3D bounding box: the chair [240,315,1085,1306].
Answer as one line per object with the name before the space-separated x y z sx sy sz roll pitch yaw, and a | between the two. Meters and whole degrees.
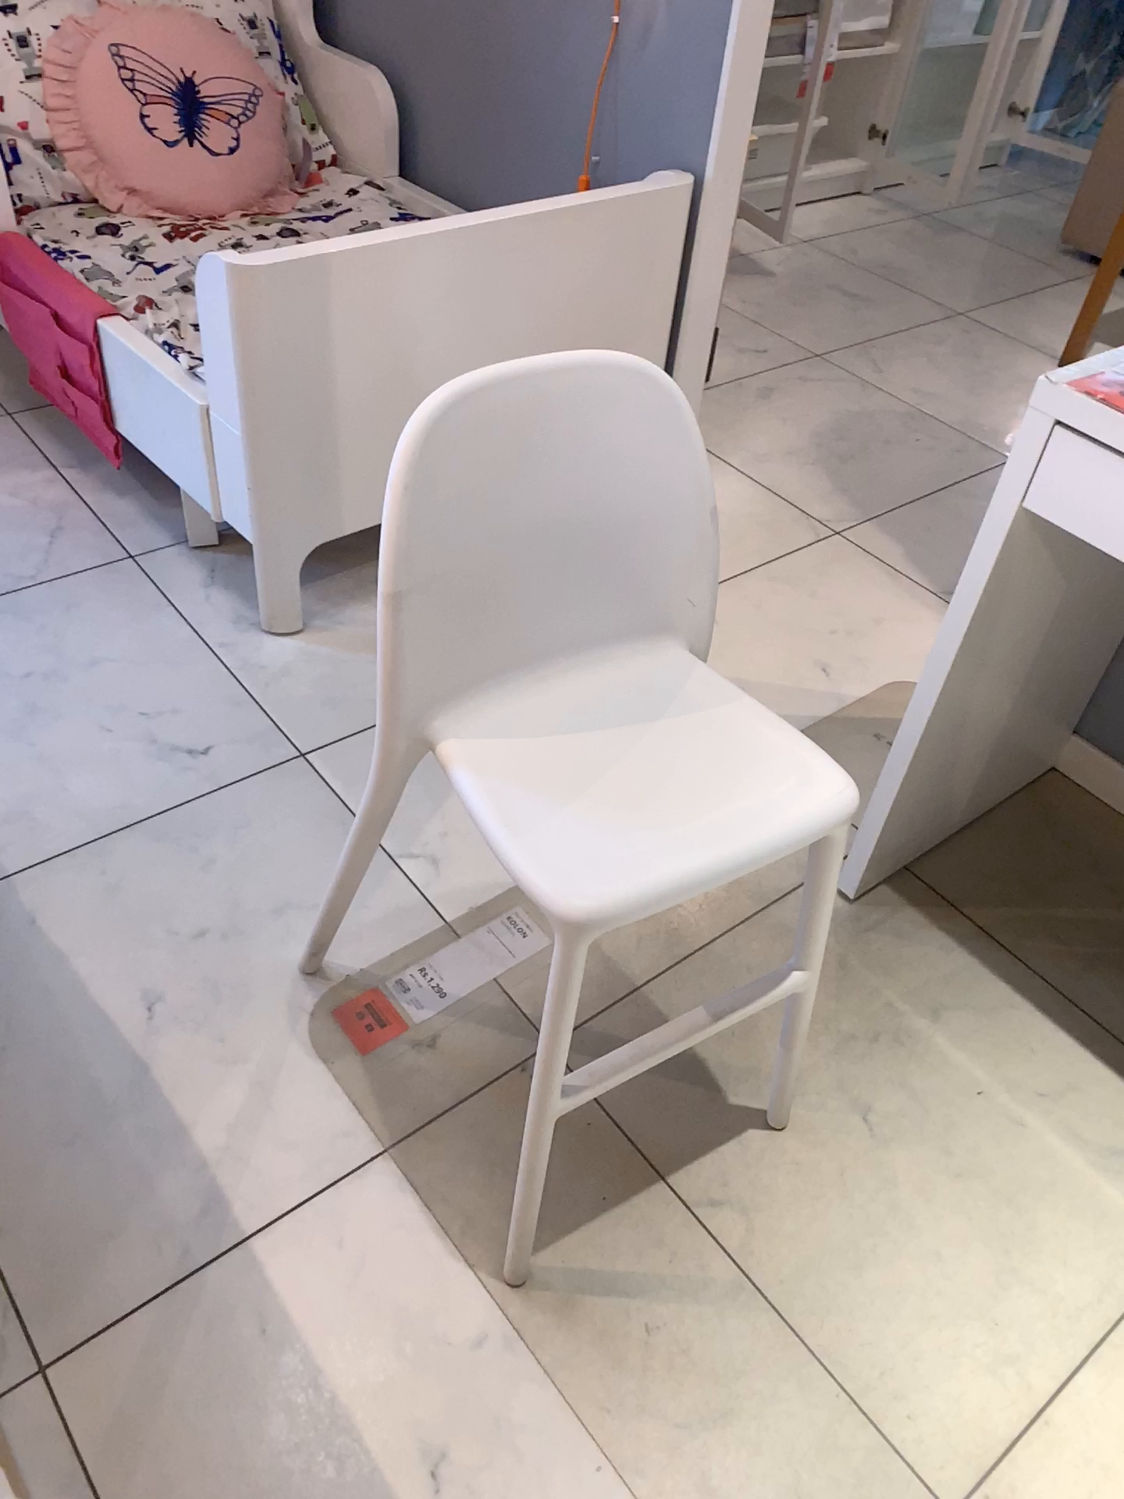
chair | 0.024 0.054 1.093 0.431 0.697 0.501 -19 49 -26
